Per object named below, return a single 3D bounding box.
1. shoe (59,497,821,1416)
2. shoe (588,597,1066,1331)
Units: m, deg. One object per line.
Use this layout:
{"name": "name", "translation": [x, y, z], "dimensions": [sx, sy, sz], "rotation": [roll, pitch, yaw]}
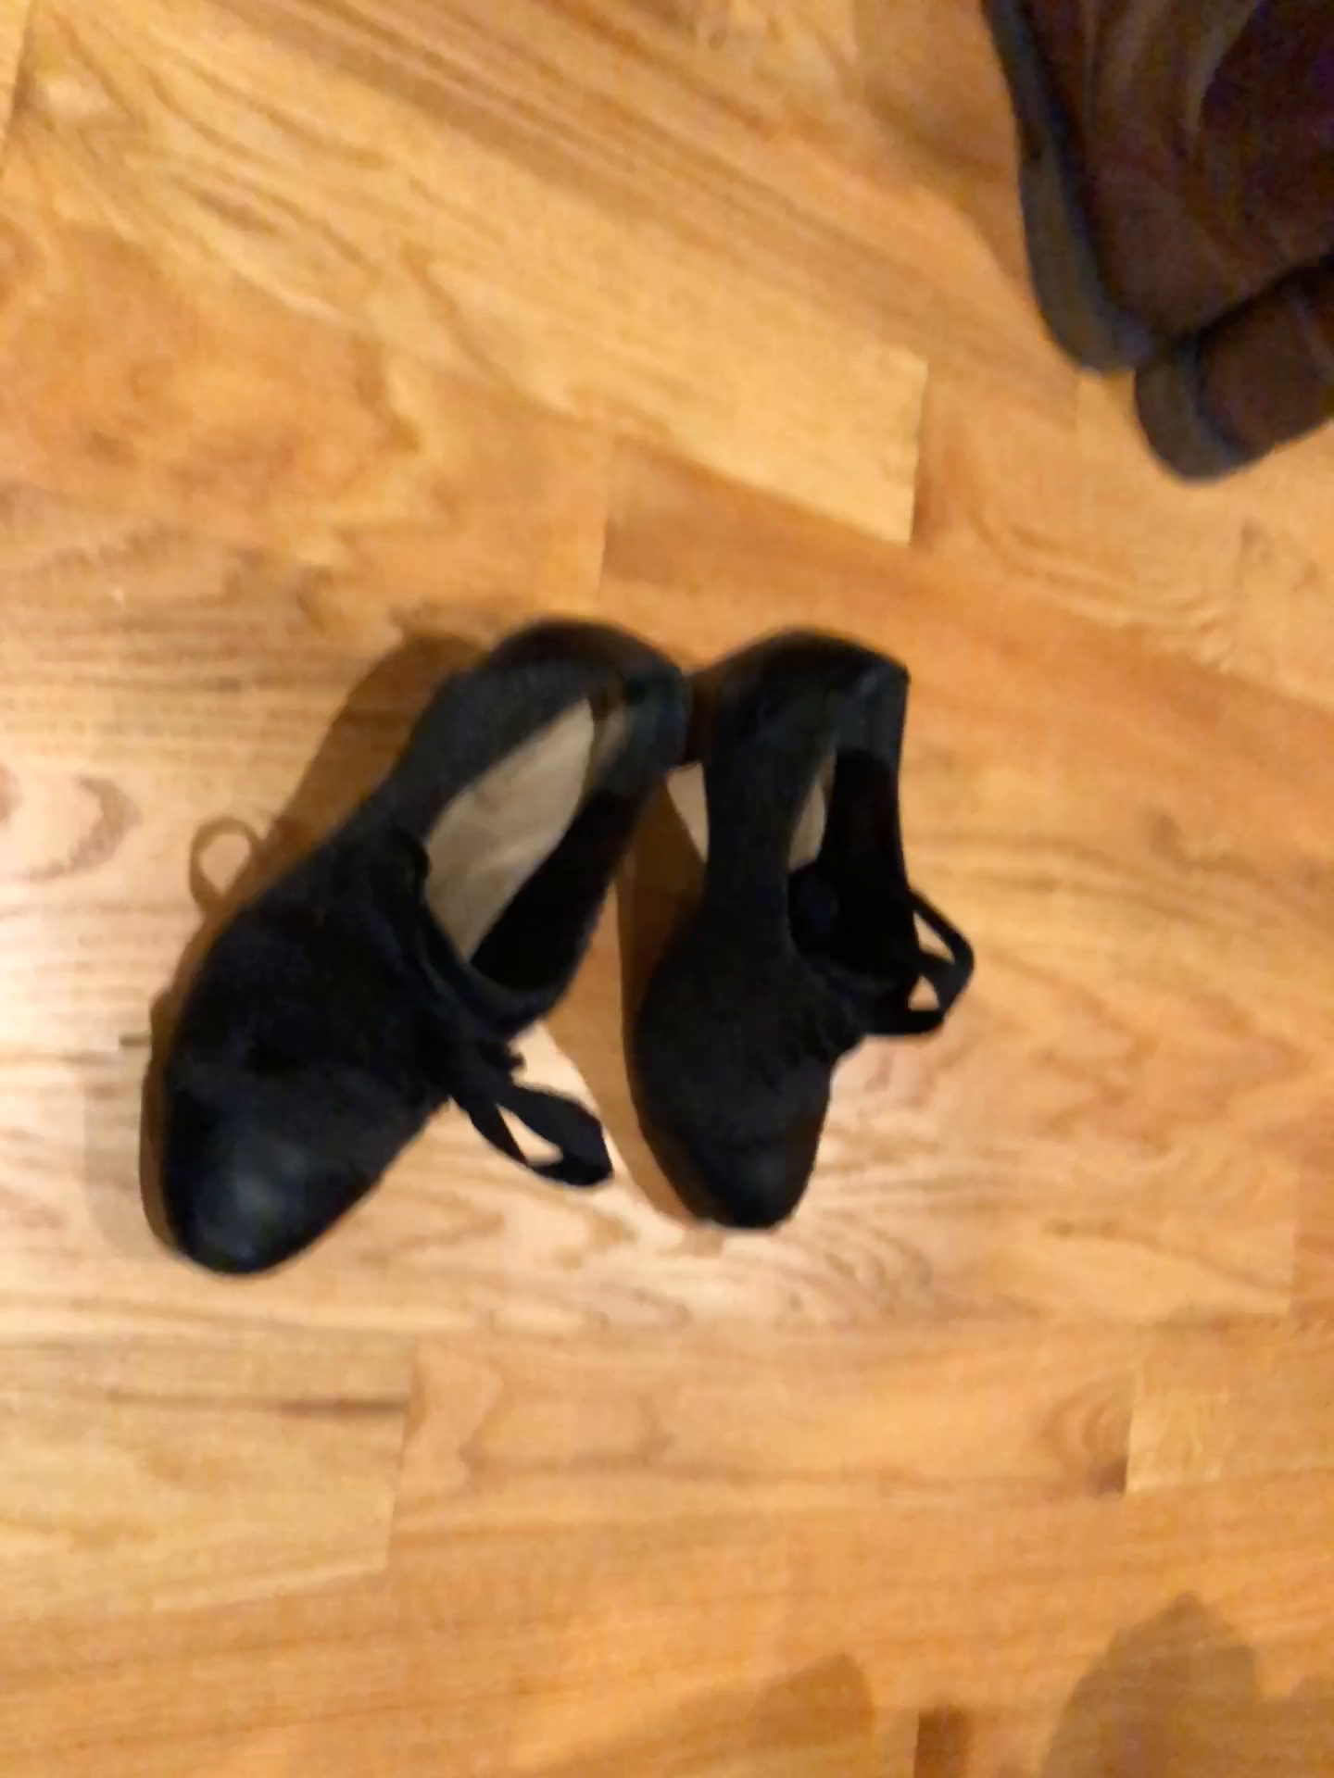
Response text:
{"name": "shoe", "translation": [-0.066, 0.016, 0.438], "dimensions": [0.093, 0.125, 0.223], "rotation": [34, 71, -29]}
{"name": "shoe", "translation": [0.053, 0.021, 0.520], "dimensions": [0.088, 0.125, 0.223], "rotation": [-7, 93, -34]}
